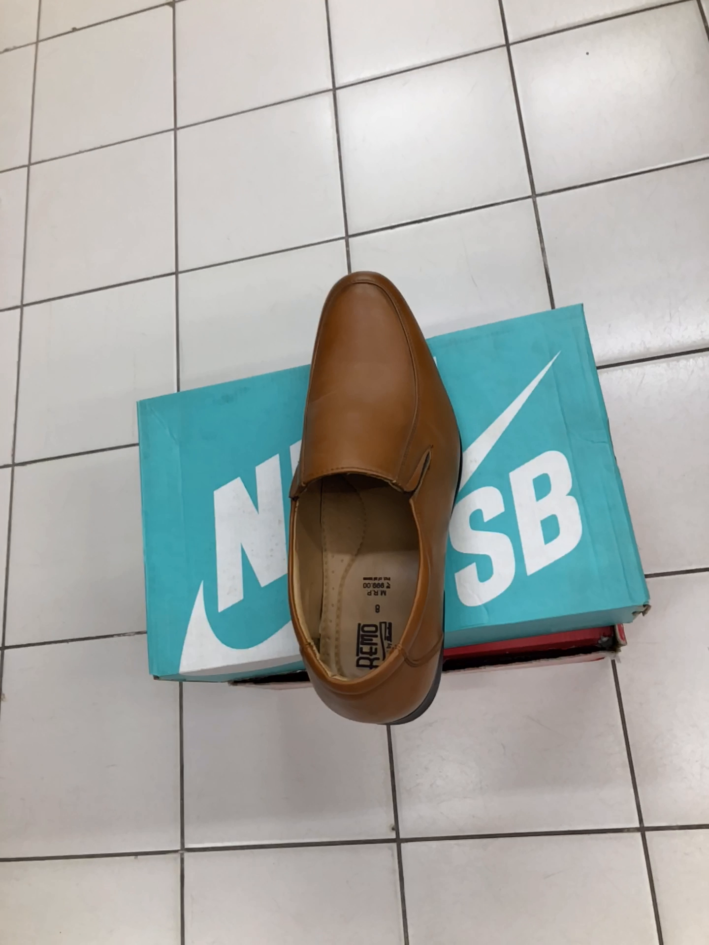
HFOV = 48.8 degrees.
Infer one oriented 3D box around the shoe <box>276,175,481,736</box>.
[{"bbox_3d":[0.013,-0.009,0.469,0.090,0.100,0.311,-6,72,13],"label":"shoe"}]
